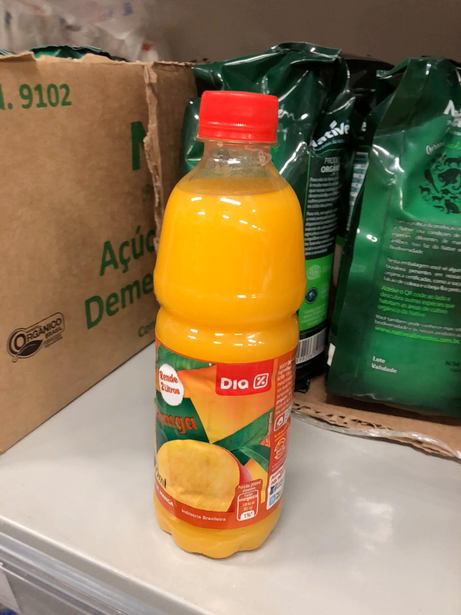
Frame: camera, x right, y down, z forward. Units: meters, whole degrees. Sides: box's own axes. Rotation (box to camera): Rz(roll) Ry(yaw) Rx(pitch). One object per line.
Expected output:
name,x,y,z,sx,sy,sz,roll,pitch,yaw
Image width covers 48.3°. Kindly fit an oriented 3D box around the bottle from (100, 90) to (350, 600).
bottle,-0.005,0.014,0.224,0.060,0.199,0.070,-17,28,-38
